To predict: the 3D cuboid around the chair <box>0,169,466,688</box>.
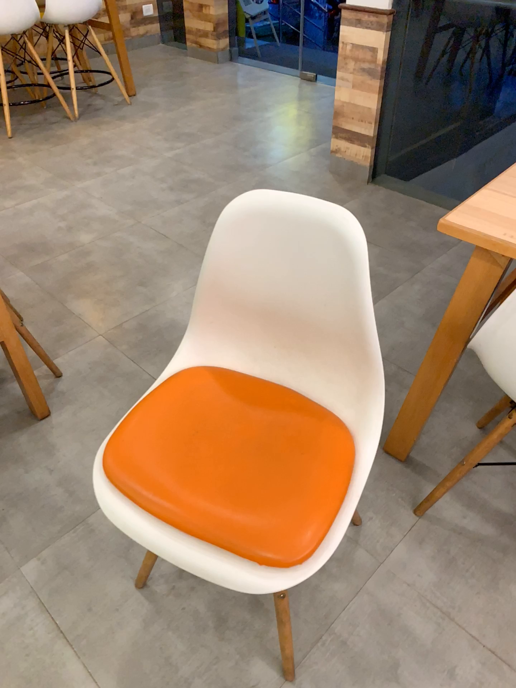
[{"bbox_3d":[-0.013,0.158,0.944,0.471,0.704,0.483,21,44,24],"label":"chair"}]
